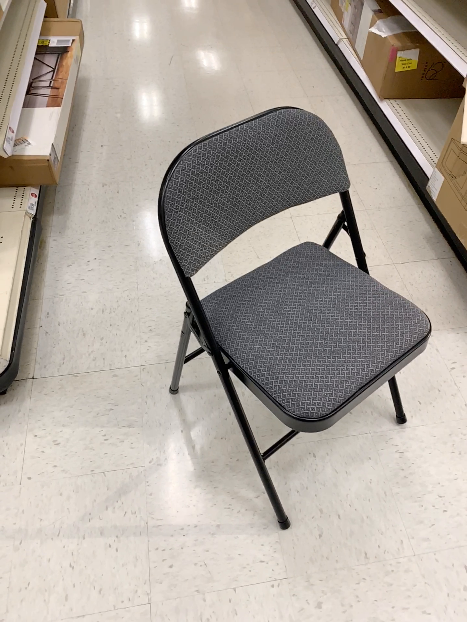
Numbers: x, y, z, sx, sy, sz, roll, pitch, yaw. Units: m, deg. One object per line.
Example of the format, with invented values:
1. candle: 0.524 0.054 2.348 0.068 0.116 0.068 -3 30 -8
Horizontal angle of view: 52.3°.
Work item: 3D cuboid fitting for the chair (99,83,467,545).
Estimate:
1. chair: 0.133 0.019 1.034 0.501 0.677 0.551 -32 58 -24
